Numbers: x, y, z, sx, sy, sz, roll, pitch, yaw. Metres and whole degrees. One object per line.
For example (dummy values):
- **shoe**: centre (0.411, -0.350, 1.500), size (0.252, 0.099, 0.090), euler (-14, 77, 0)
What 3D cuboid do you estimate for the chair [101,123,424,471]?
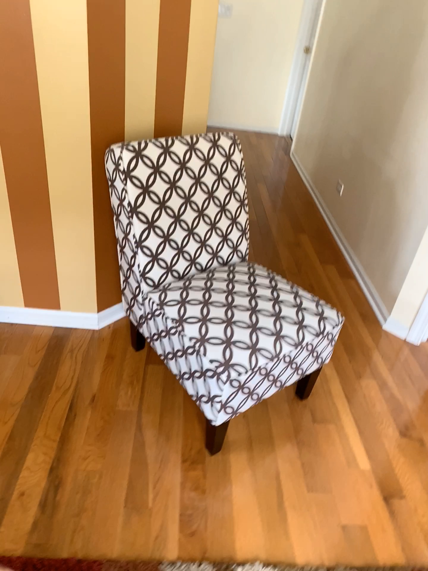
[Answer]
- **chair**: centre (0.080, -0.043, 1.479), size (0.624, 0.774, 0.738), euler (-18, 40, -34)
